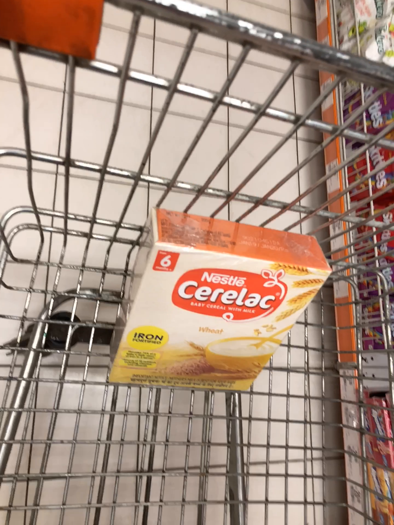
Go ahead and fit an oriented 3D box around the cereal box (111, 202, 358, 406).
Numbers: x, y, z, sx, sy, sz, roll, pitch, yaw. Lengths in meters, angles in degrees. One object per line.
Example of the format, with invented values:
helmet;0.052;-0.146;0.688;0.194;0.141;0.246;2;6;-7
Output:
cereal box;0.018;0.050;0.373;0.150;0.179;0.050;9;39;-18
